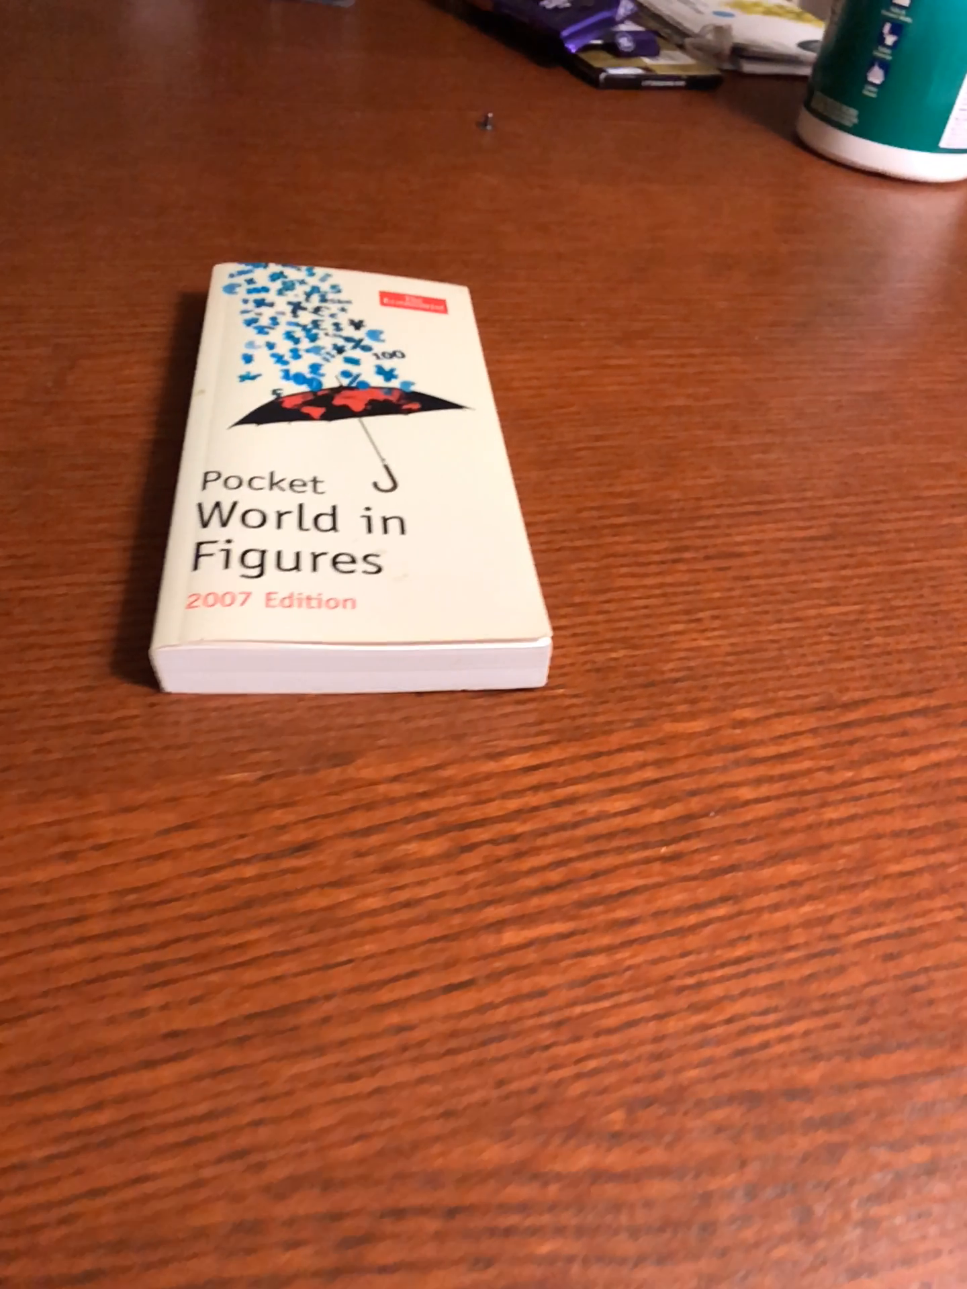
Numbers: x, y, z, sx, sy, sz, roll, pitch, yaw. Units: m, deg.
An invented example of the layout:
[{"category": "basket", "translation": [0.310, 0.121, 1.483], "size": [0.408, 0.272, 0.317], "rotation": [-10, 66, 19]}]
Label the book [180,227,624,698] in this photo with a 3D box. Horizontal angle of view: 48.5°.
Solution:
[{"category": "book", "translation": [-0.030, -0.067, 0.324], "size": [0.100, 0.030, 0.201], "rotation": [1, 43, -10]}]
